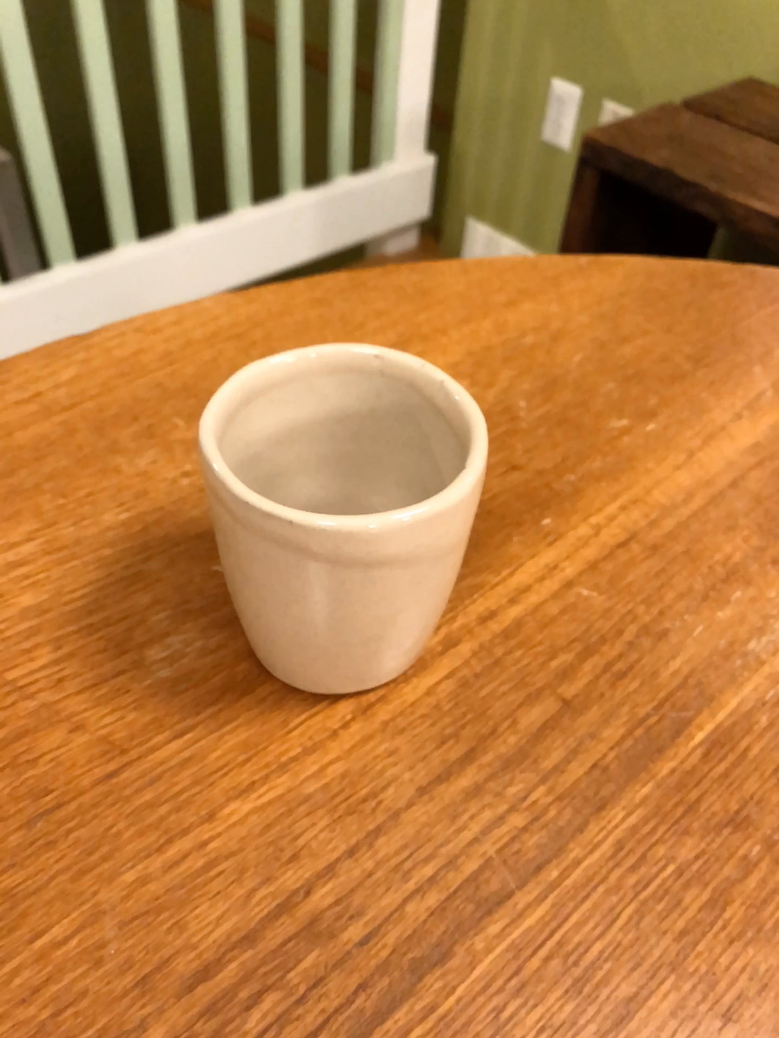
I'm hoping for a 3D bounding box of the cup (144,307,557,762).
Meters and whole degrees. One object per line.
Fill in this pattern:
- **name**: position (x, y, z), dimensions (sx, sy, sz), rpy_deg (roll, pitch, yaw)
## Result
- **cup**: position (-0.013, 0.002, 0.278), dimensions (0.084, 0.086, 0.083), rpy_deg (3, 45, -3)
